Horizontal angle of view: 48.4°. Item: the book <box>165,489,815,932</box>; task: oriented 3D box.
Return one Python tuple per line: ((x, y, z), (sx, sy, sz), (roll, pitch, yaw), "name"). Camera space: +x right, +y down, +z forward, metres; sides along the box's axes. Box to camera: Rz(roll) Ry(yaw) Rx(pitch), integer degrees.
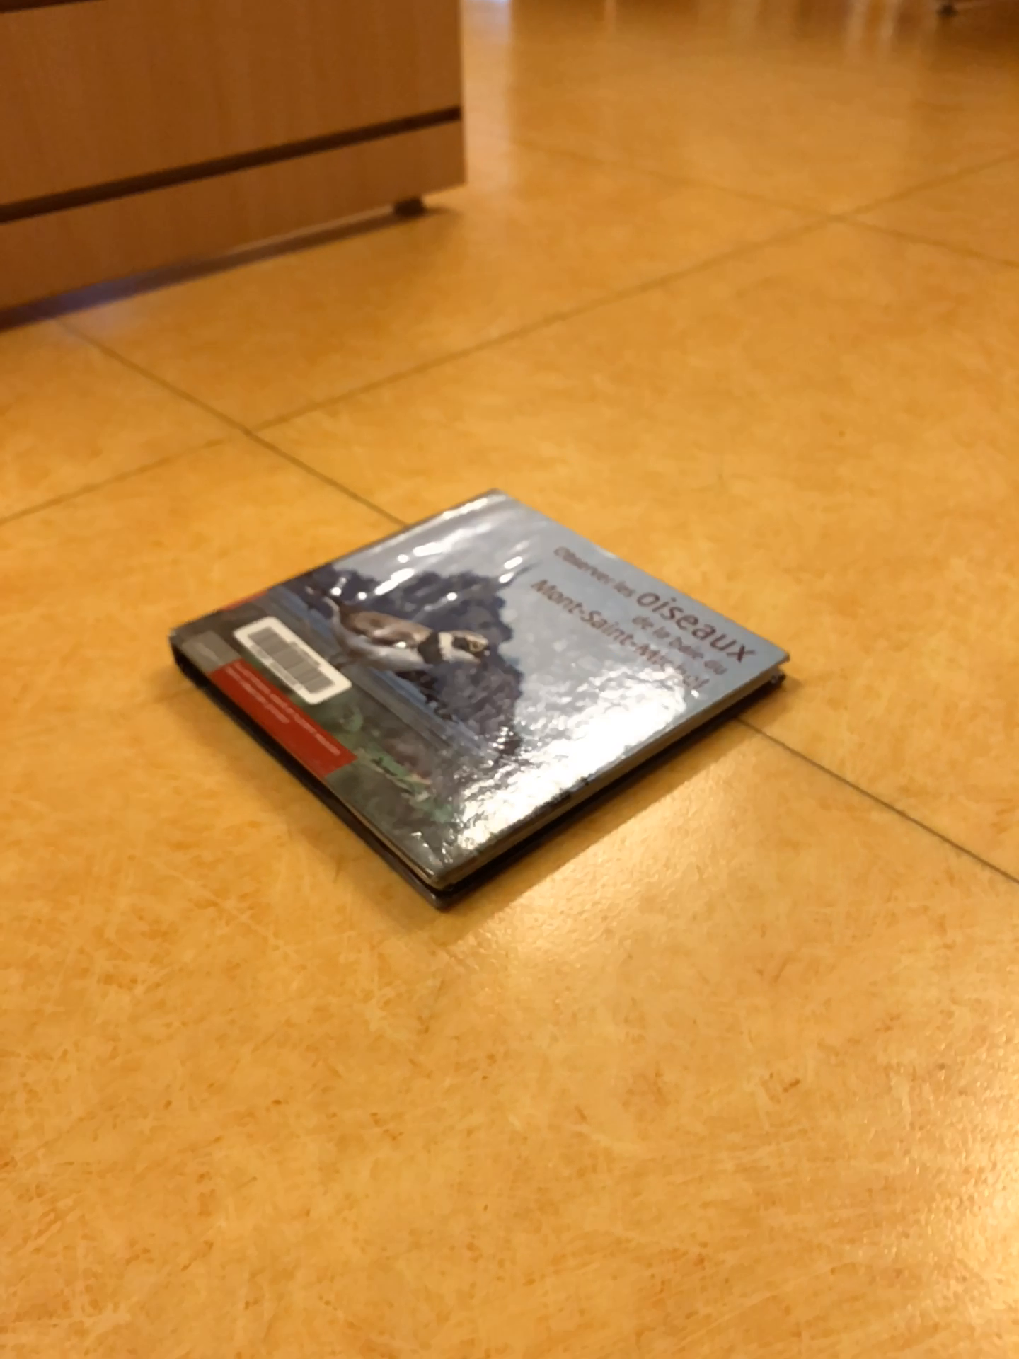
((-0.008, -0.006, 0.385), (0.156, 0.015, 0.153), (-28, 46, -31), "book")
